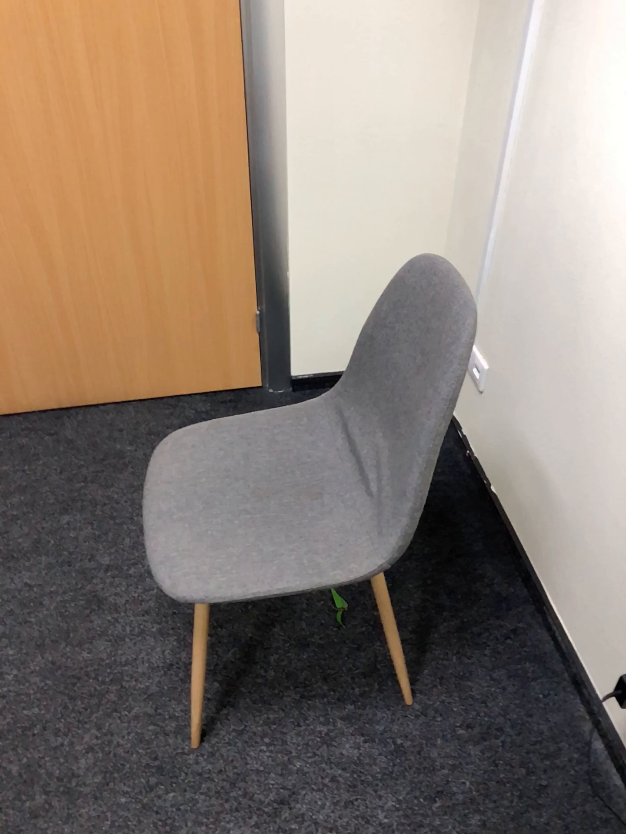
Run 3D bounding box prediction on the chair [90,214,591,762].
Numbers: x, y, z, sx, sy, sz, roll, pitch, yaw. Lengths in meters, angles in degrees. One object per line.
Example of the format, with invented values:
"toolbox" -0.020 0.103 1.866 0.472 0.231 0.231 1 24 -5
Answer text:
"chair" -0.003 0.135 1.220 0.600 0.785 0.473 -8 40 -10
